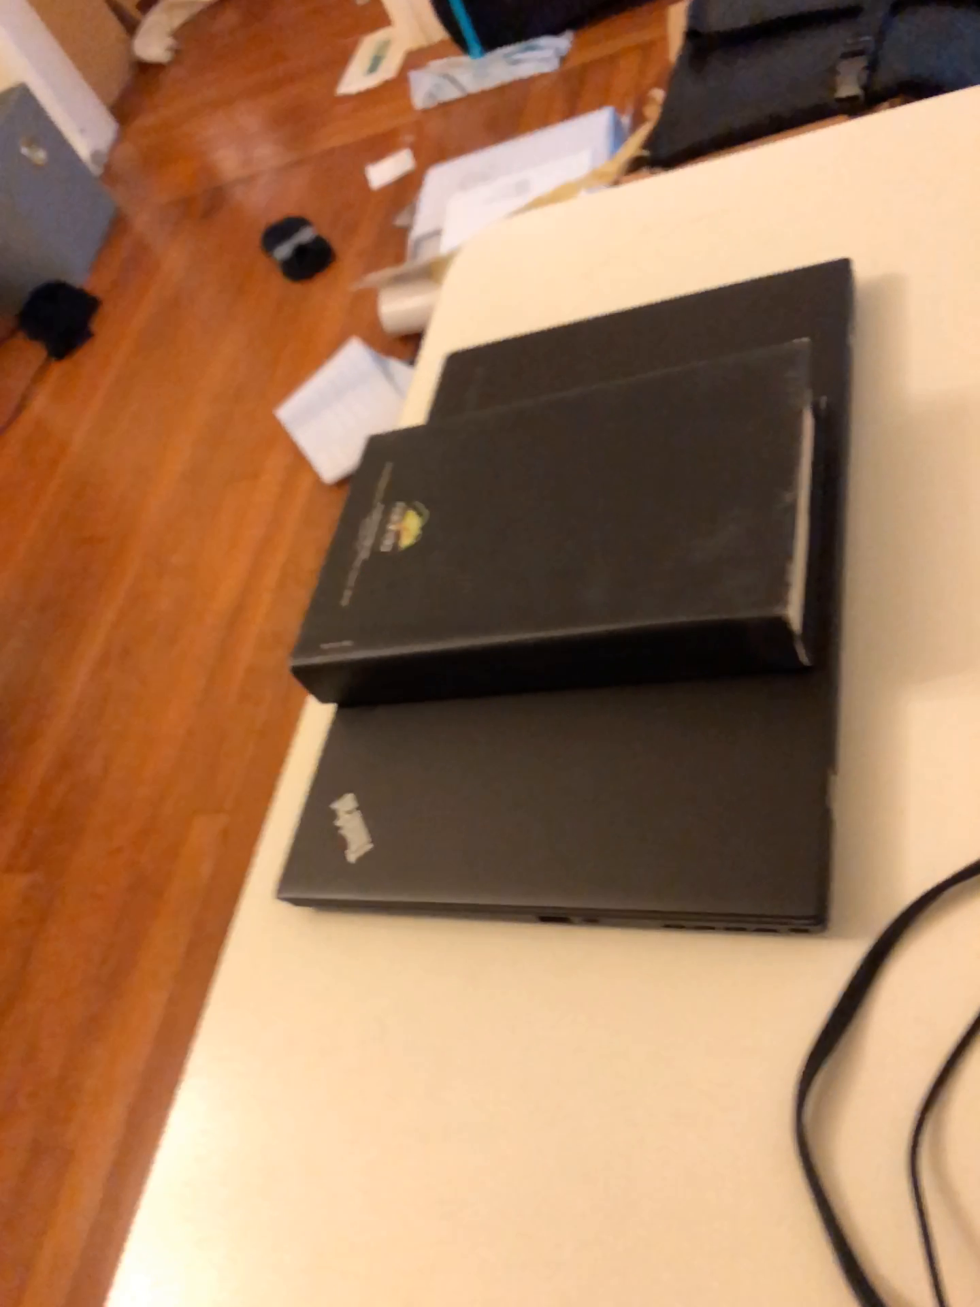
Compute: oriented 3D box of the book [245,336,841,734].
[{"bbox_3d":[0.023,-0.045,0.460,0.230,0.040,0.151,-4,55,27],"label":"book"}]
